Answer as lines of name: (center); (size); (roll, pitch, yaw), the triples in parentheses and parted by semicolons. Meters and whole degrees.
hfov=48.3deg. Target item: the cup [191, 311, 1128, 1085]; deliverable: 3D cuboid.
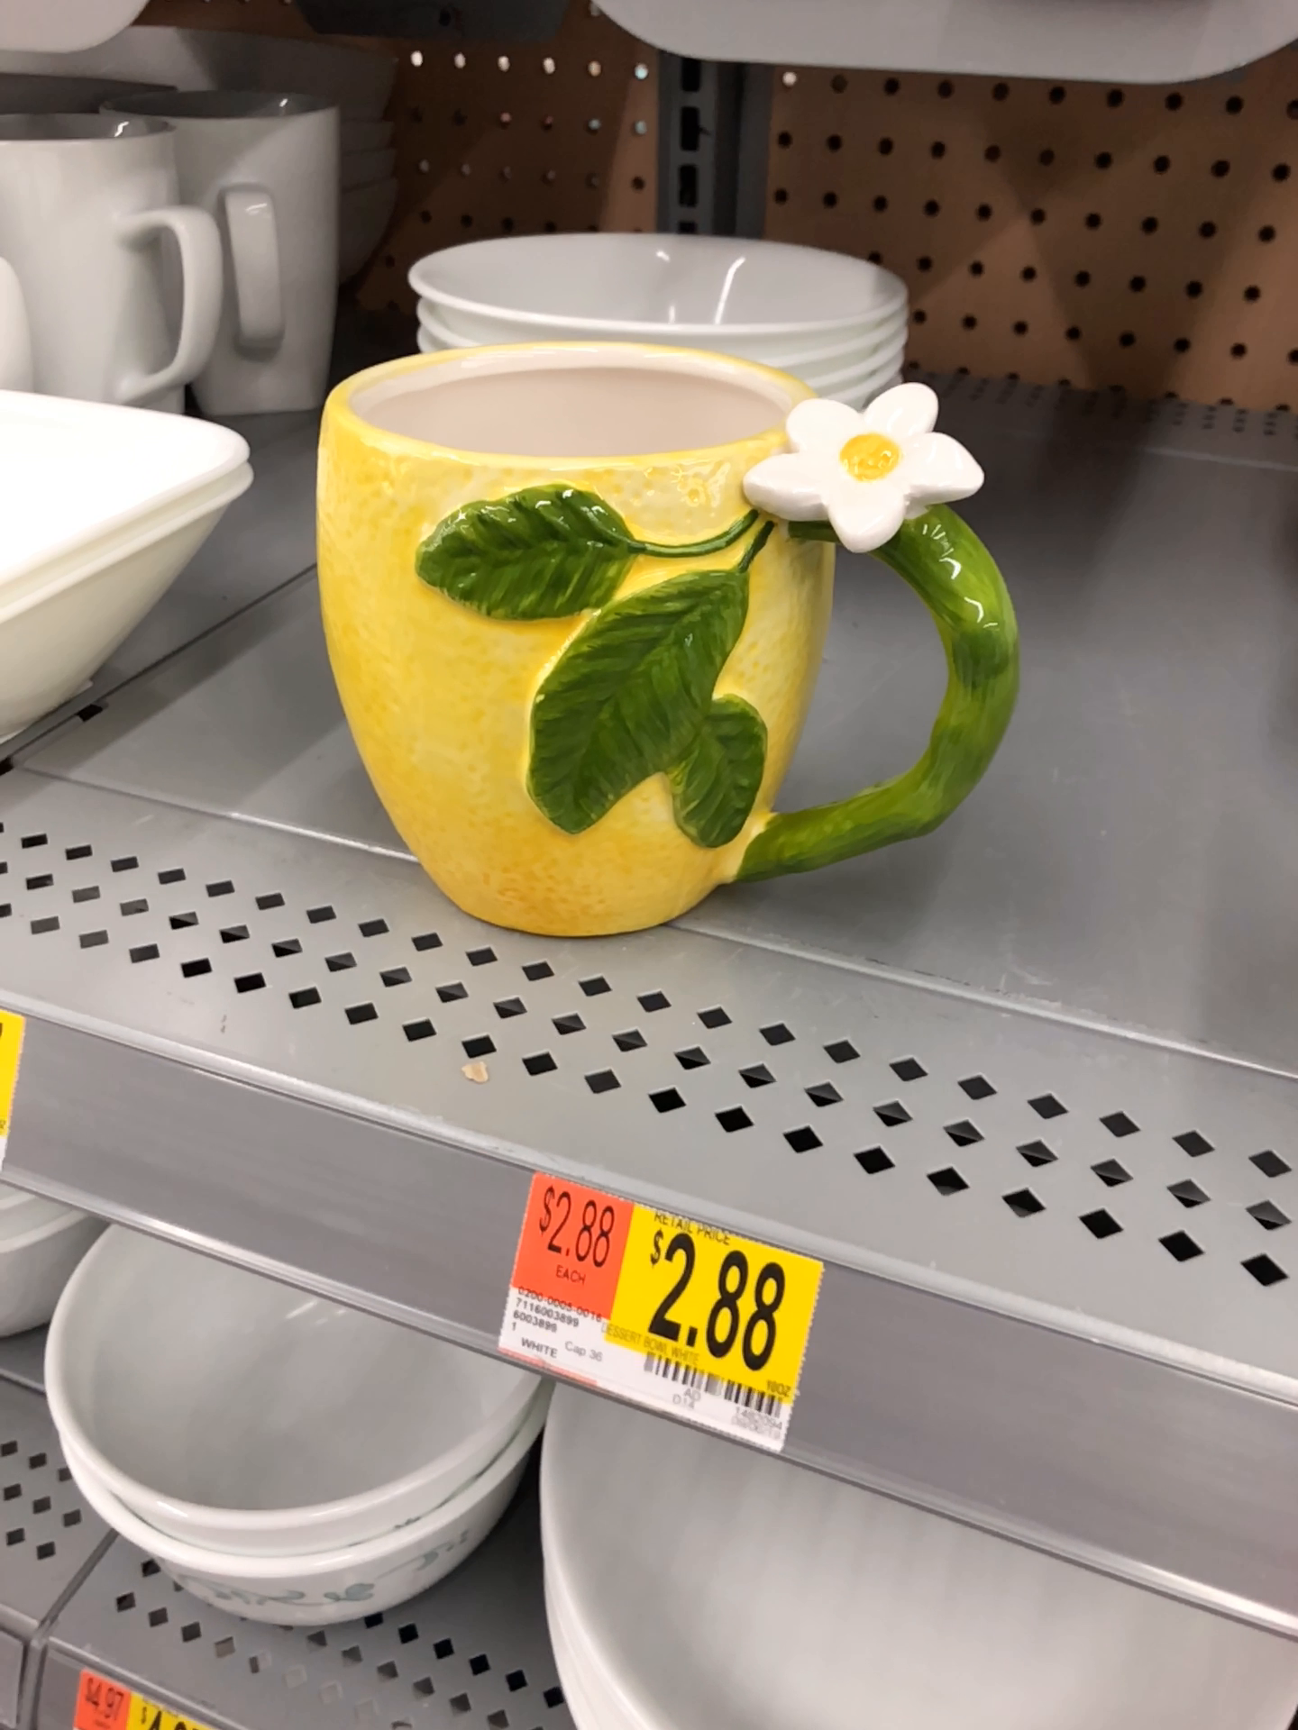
cup: (0.006, -0.043, 0.286); (0.139, 0.094, 0.101); (15, 35, 20)
